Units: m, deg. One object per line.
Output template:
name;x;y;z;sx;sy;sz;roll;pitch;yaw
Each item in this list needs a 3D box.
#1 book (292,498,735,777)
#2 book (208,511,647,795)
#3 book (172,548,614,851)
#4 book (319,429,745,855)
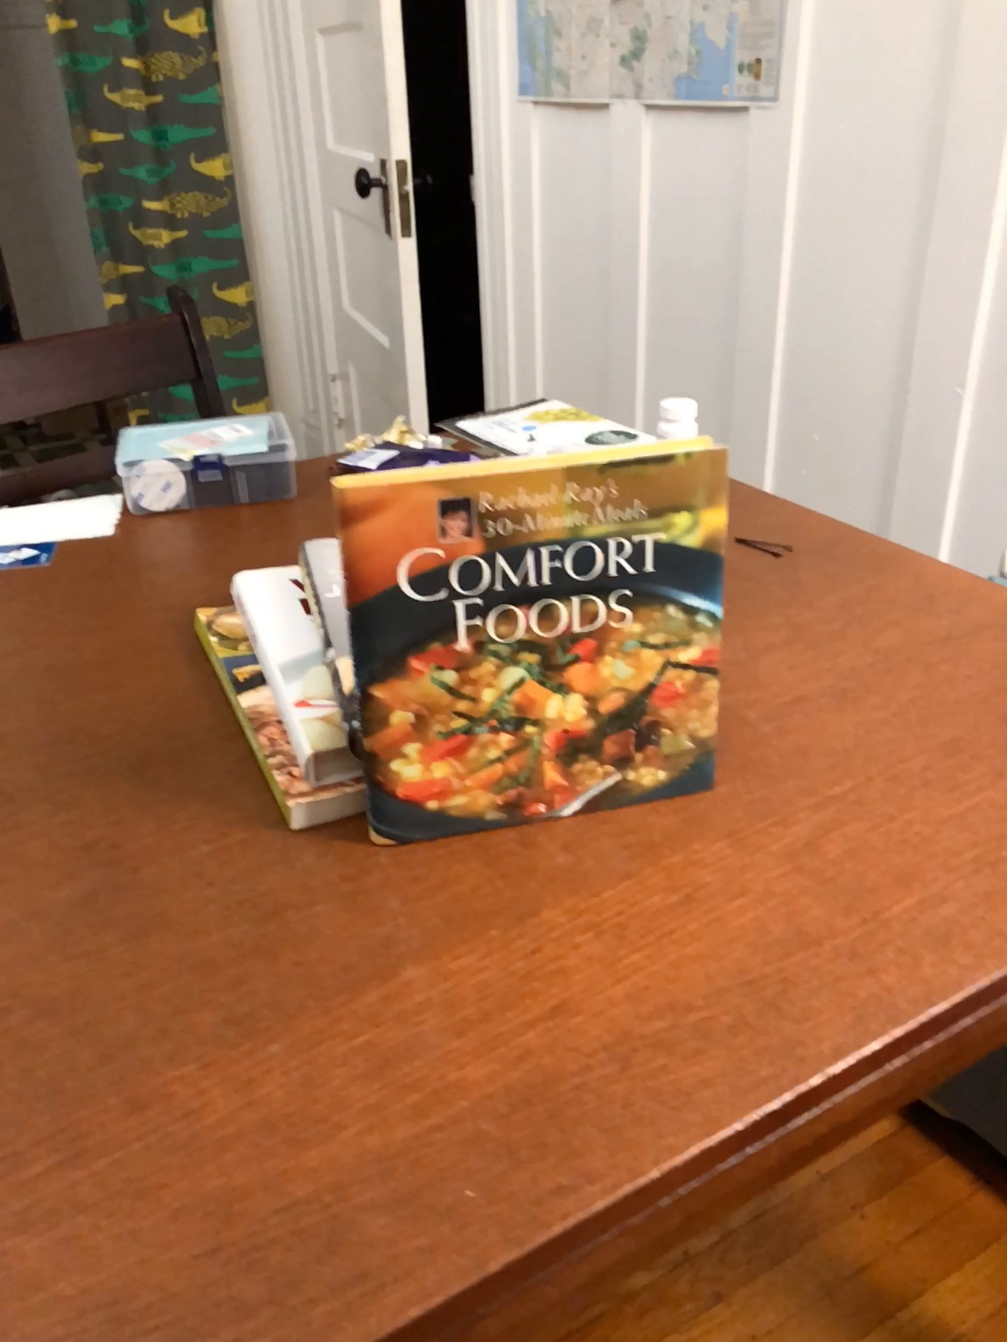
book;-0.011;-0.039;0.737;0.220;0.030;0.281;-10;31;-14
book;-0.067;-0.030;0.755;0.220;0.030;0.281;-12;31;-18
book;-0.090;0.000;0.759;0.220;0.030;0.281;-14;32;-20
book;0.018;-0.014;0.593;0.210;0.209;0.030;-7;26;-12
